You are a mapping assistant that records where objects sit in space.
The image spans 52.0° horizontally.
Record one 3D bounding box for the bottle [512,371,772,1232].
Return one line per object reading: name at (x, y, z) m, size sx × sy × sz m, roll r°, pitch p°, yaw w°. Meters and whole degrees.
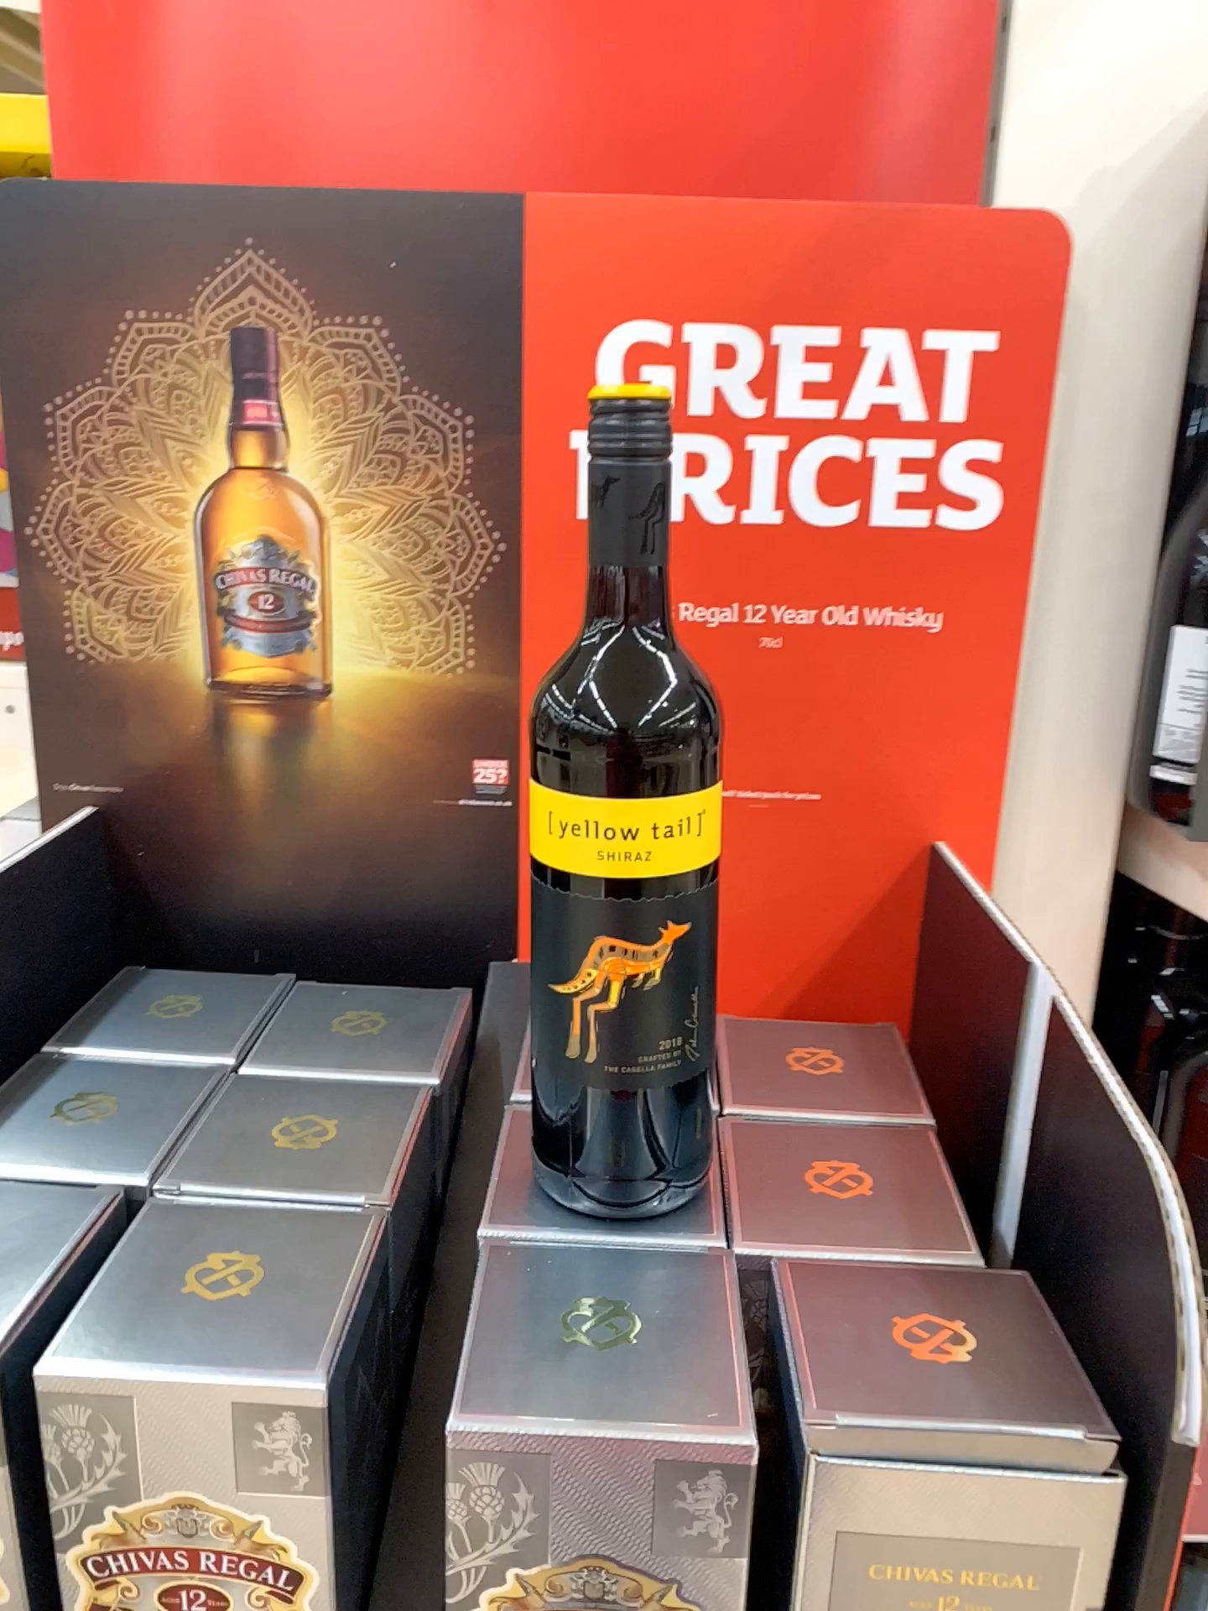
bottle at (0.011, 0.001, 0.467) m, size 0.077 × 0.305 × 0.081 m, roll 2°, pitch 16°, yaw -1°
